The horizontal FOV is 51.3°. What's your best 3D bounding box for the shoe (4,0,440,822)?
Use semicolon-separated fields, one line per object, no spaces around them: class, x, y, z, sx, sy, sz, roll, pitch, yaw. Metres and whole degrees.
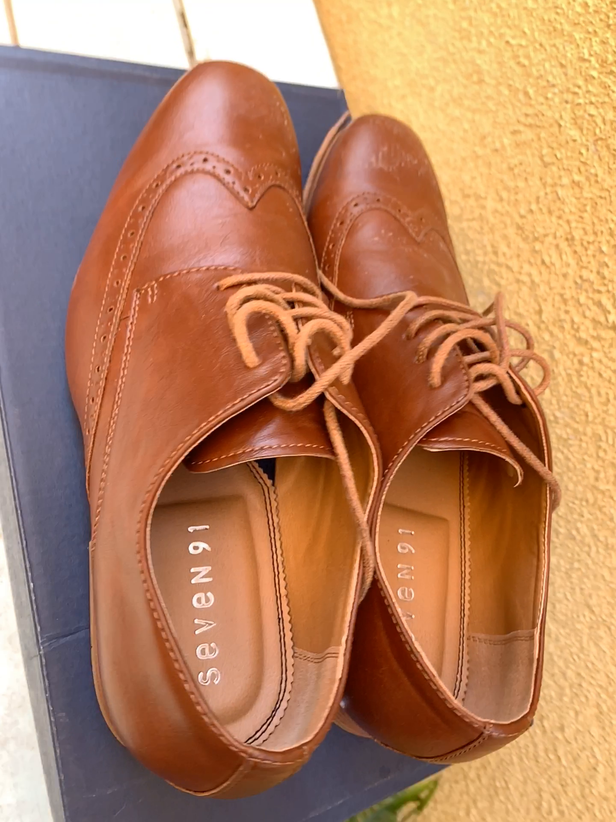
shoe;-0.035;-0.023;0.241;0.104;0.100;0.301;8;70;-25

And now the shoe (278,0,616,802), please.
shoe;0.057;-0.017;0.286;0.110;0.100;0.301;8;70;-25
